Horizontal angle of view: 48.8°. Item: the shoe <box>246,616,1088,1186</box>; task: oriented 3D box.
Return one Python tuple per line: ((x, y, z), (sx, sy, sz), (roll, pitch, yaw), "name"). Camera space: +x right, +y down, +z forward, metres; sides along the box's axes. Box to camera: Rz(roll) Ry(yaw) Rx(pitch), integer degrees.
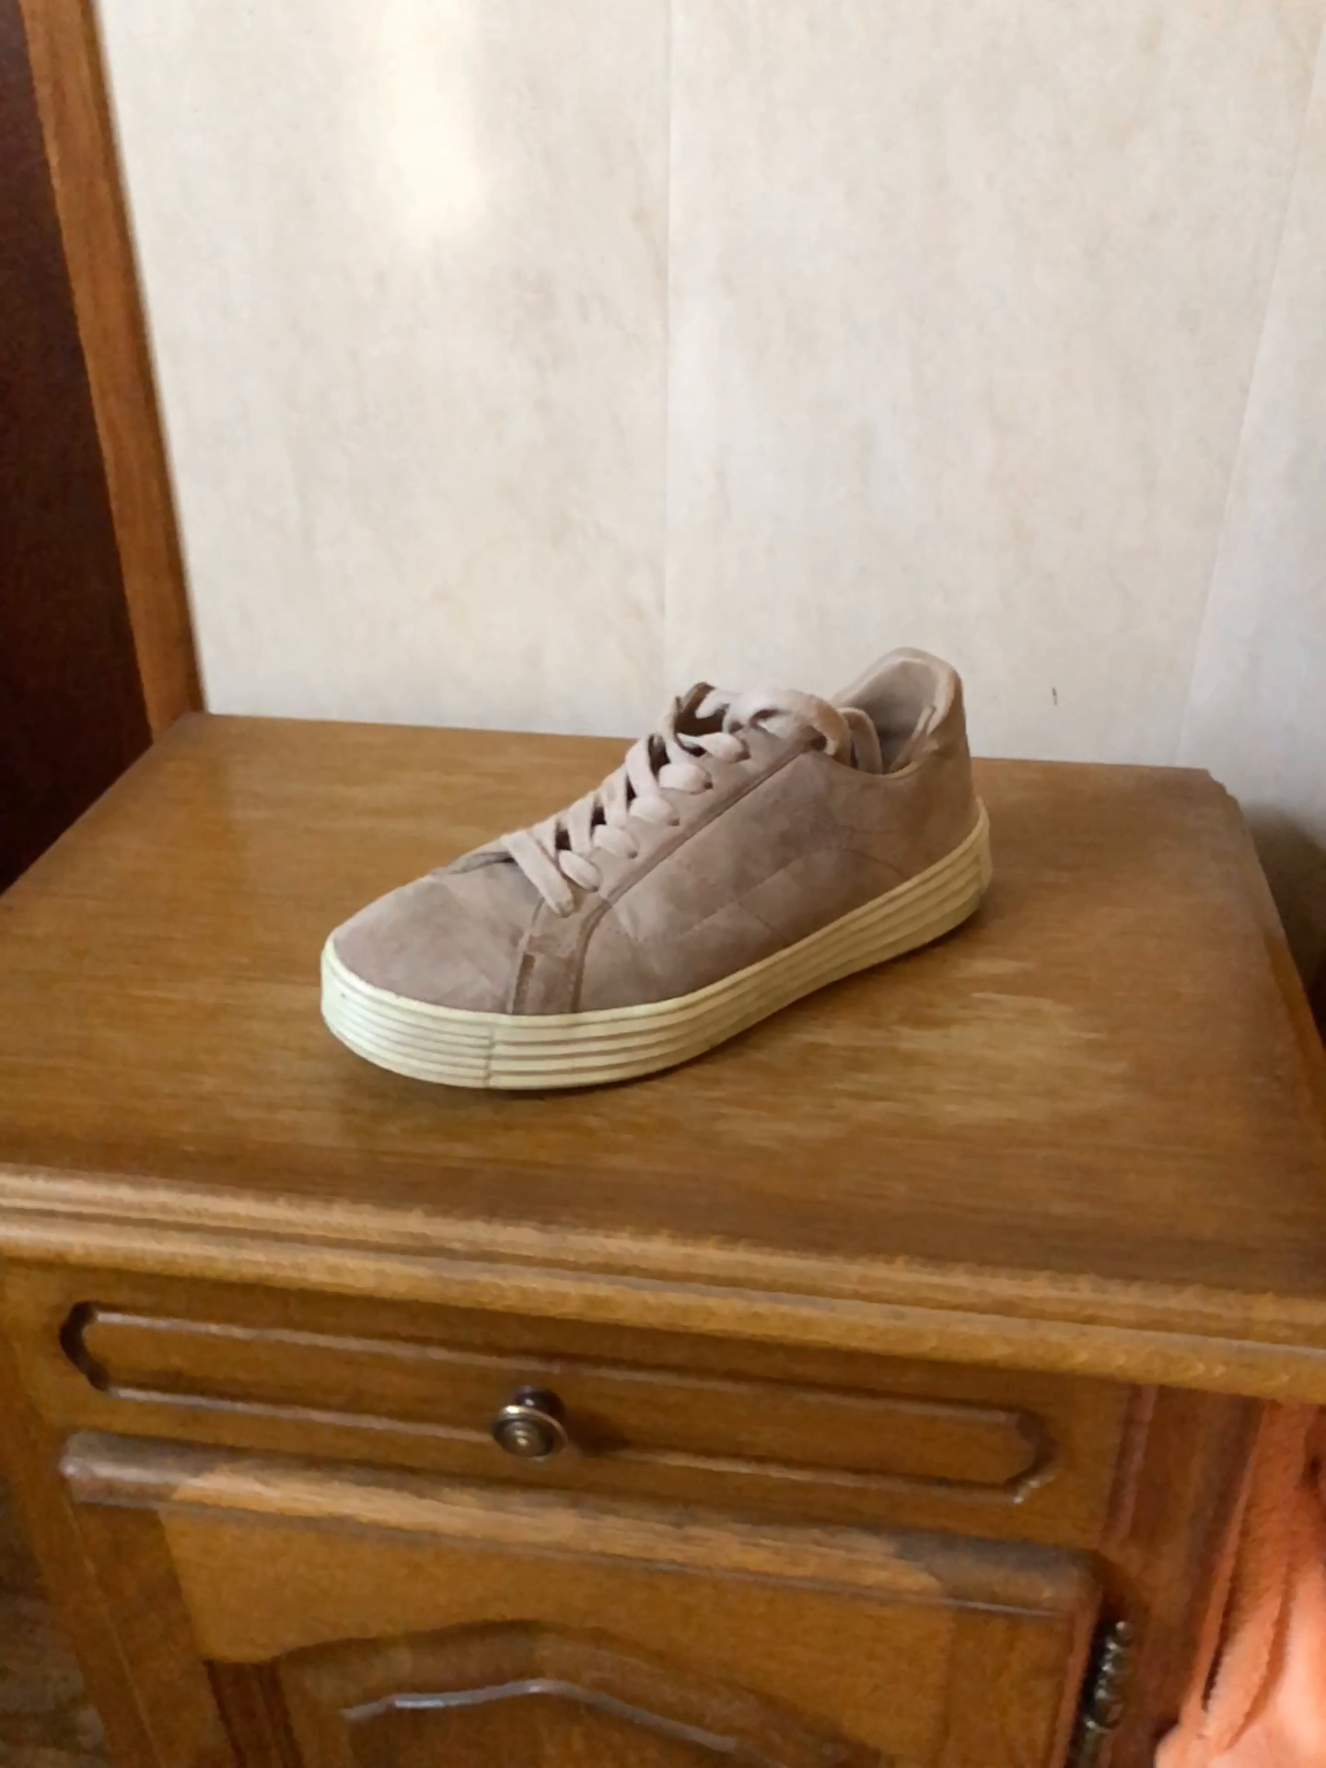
((0.007, -0.009, 0.505), (0.261, 0.089, 0.110), (-18, 35, -28), "shoe")
